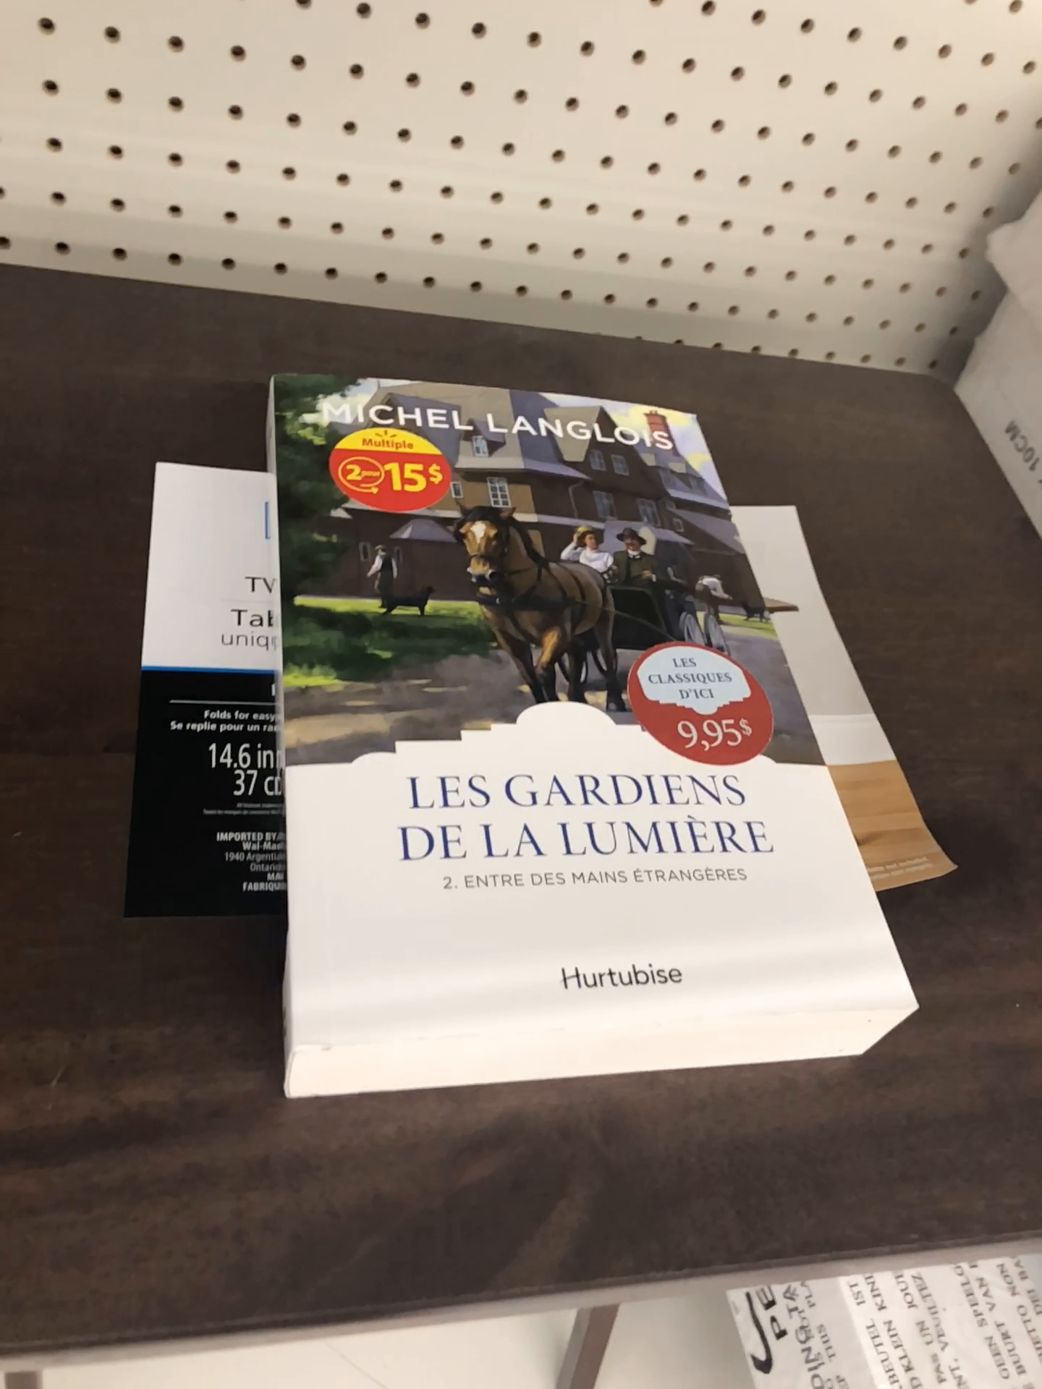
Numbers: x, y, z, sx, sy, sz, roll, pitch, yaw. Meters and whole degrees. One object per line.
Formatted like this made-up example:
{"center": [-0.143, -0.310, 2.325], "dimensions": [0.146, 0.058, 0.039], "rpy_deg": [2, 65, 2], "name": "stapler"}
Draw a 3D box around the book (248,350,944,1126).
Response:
{"center": [0.003, -0.005, 0.339], "dimensions": [0.158, 0.039, 0.235], "rpy_deg": [2, 52, -16], "name": "book"}
